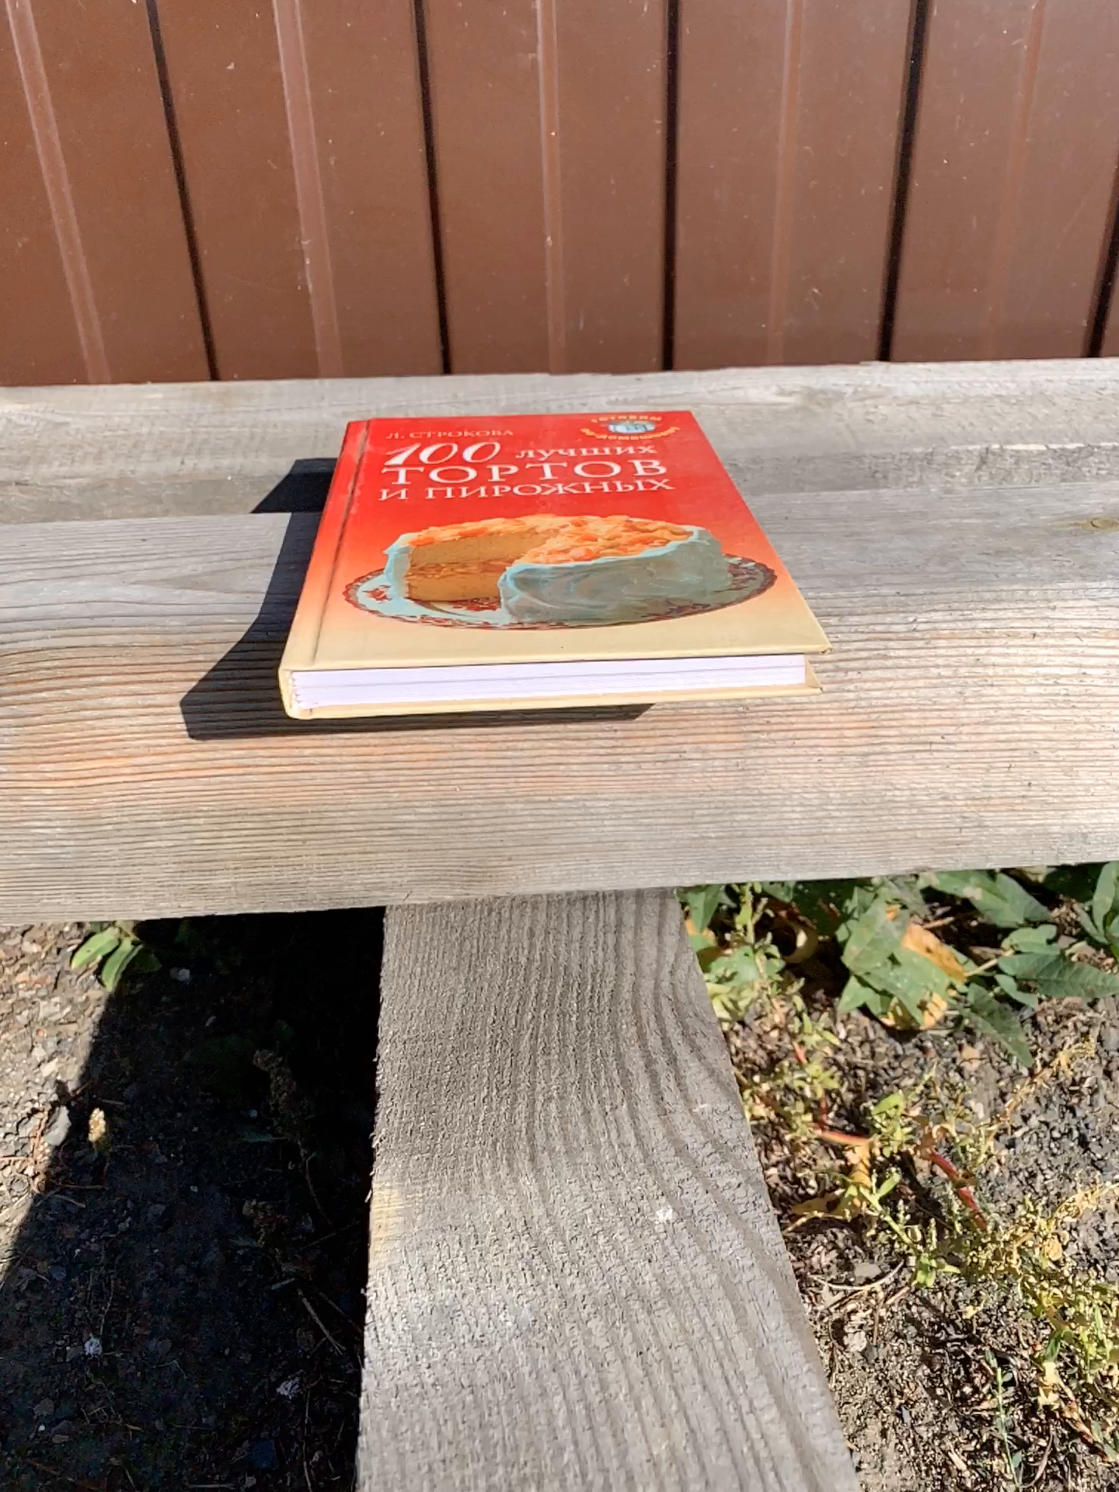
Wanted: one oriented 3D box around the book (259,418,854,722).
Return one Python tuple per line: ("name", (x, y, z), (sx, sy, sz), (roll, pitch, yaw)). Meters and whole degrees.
("book", (-0.007, -0.070, 0.376), (0.143, 0.017, 0.219), (-3, 29, -3))
